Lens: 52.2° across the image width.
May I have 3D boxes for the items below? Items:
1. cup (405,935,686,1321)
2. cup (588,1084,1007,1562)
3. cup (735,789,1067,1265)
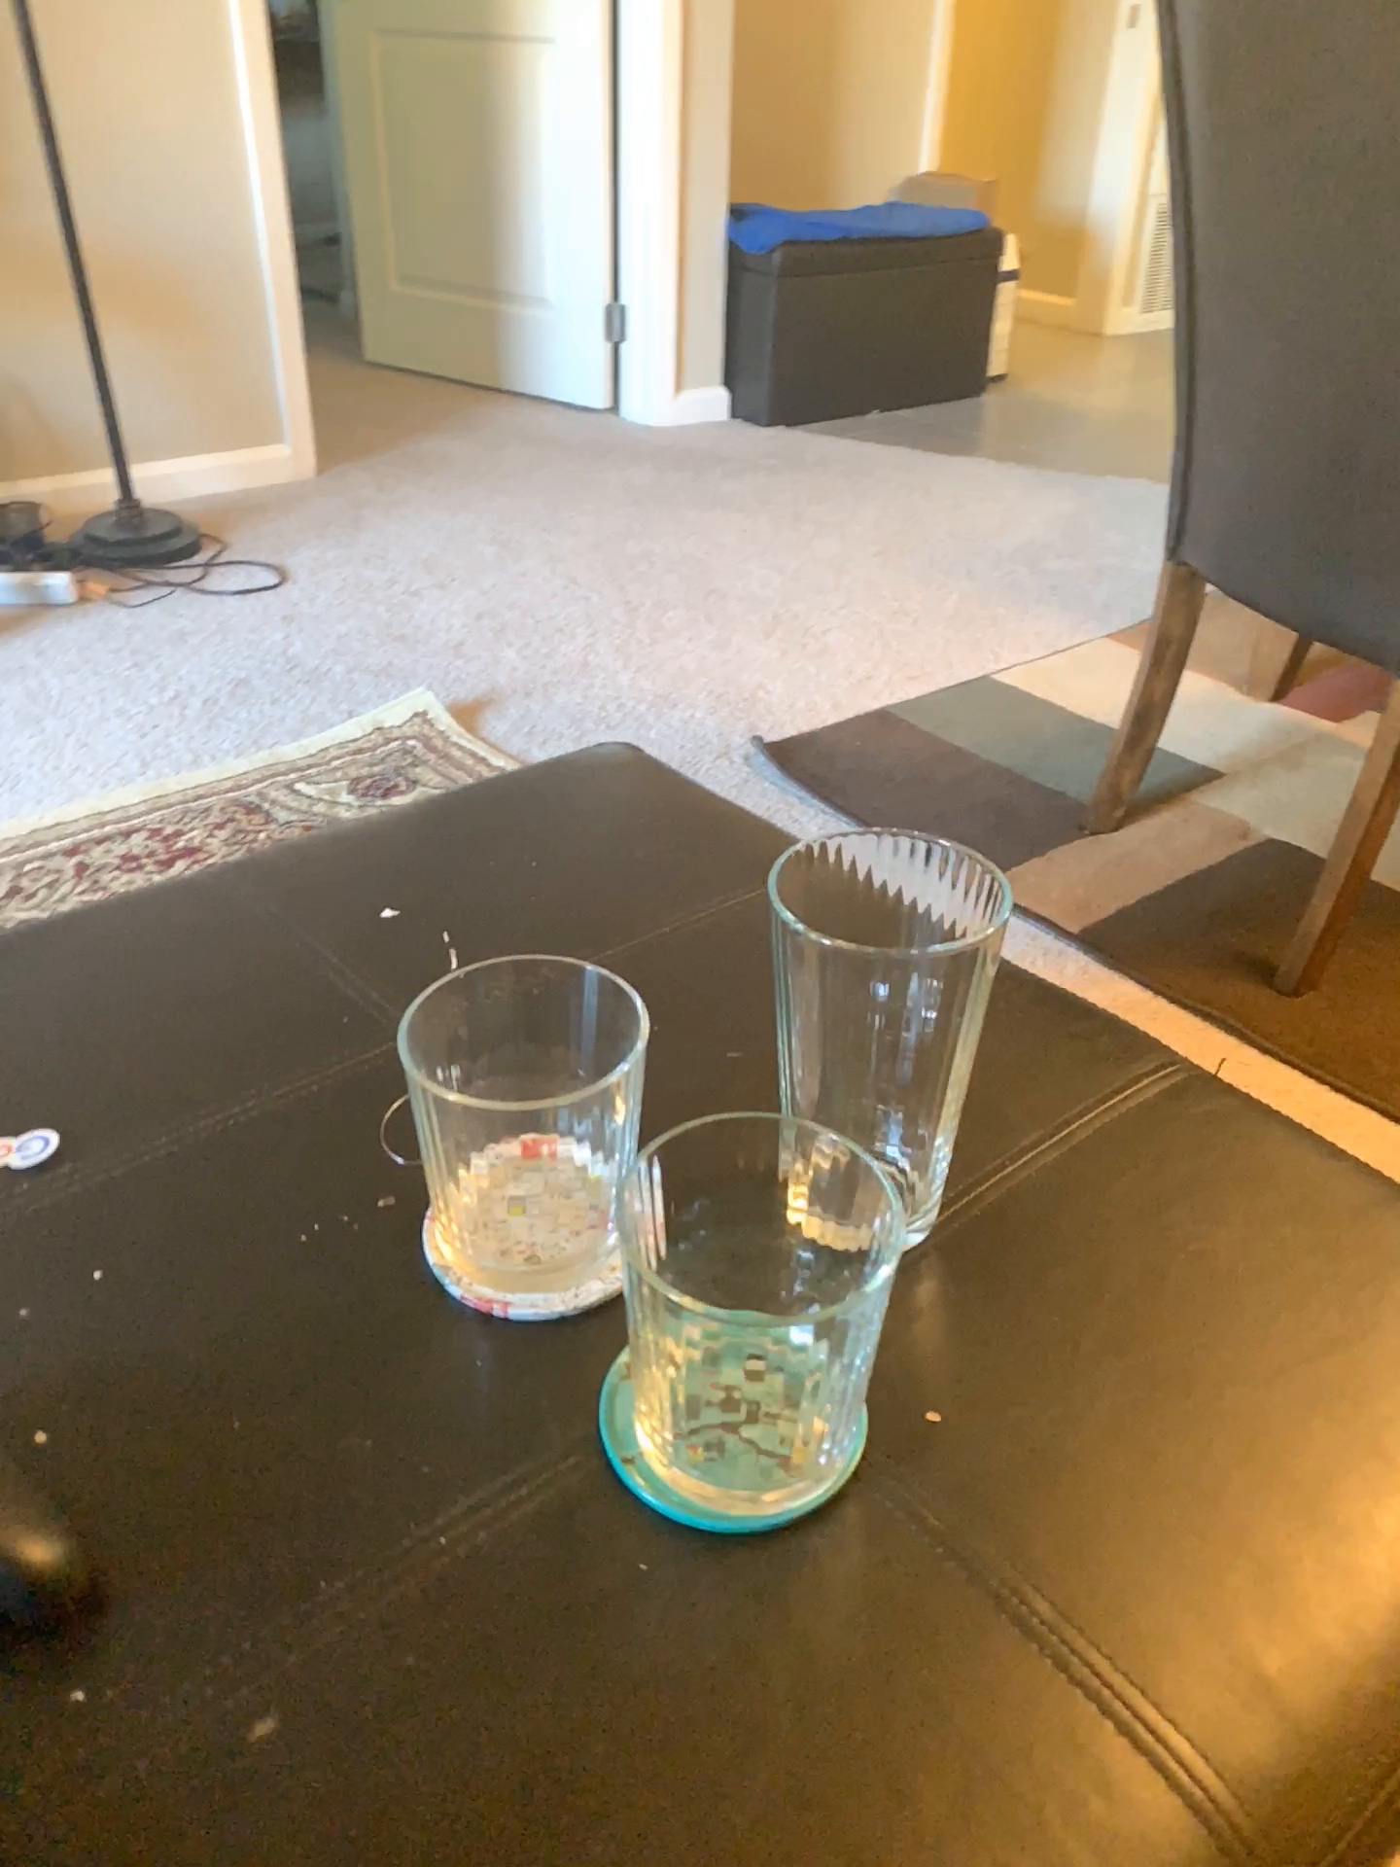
[{"bbox_3d":[-0.060,0.073,0.552,0.090,0.109,0.081,-7,34,-13],"label":"cup"},{"bbox_3d":[0.024,0.117,0.444,0.100,0.089,0.091,-7,34,-13],"label":"cup"},{"bbox_3d":[0.067,0.033,0.528,0.080,0.139,0.091,-7,34,-13],"label":"cup"}]
